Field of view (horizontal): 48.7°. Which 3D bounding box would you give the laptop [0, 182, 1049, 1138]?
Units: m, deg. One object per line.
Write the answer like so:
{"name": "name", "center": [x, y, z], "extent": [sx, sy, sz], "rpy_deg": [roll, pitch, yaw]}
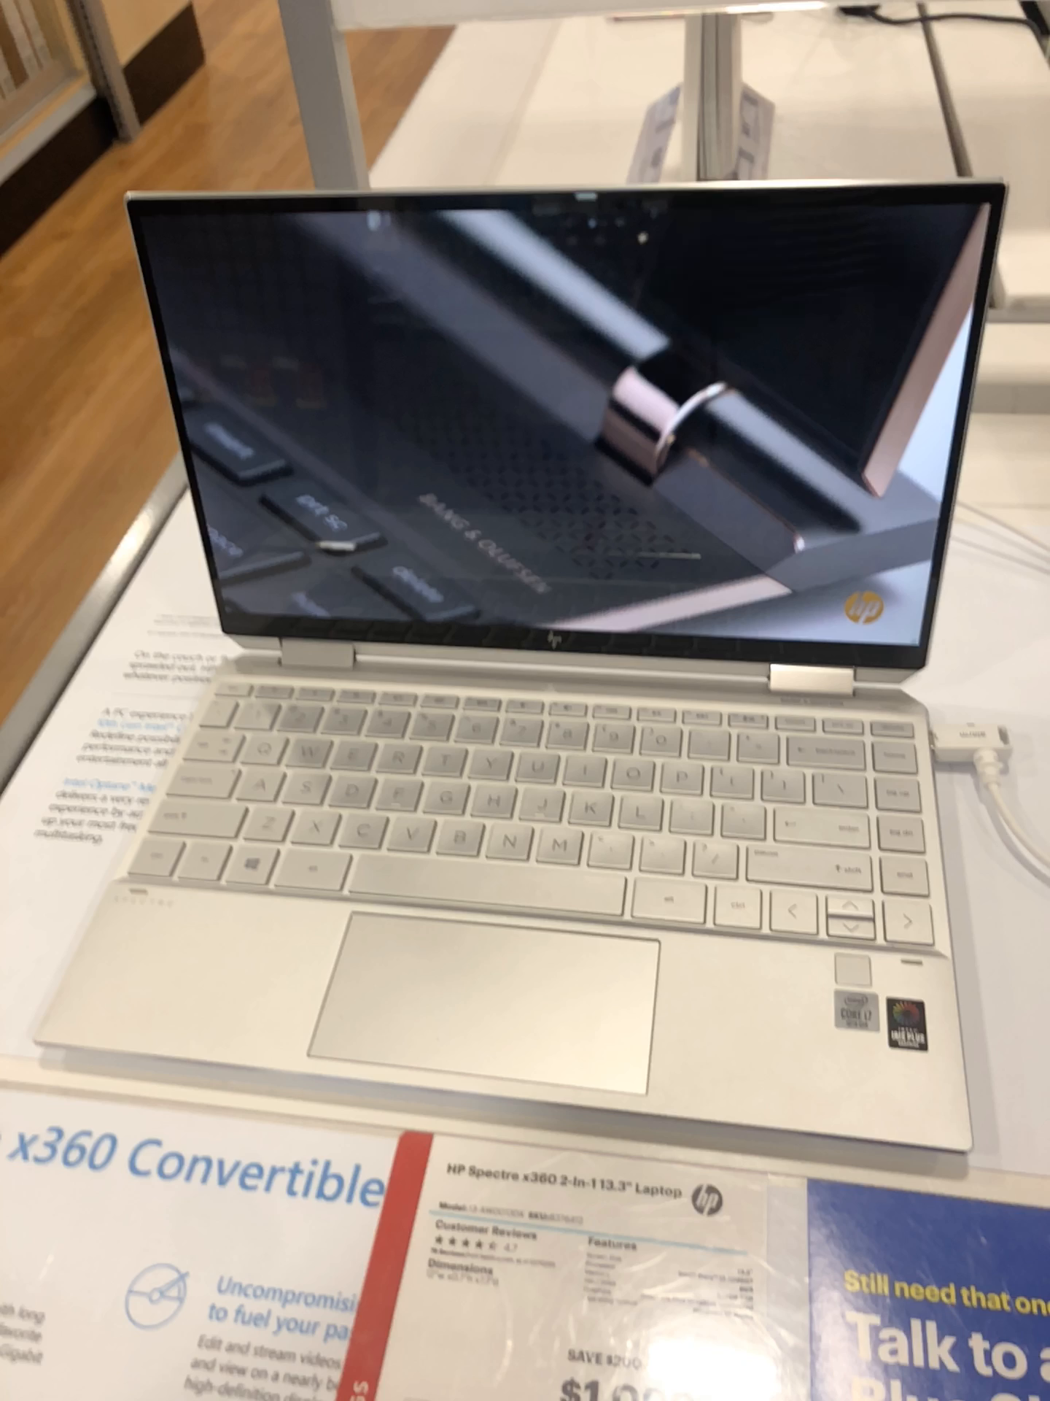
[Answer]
{"name": "laptop", "center": [-0.005, -0.028, 0.378], "extent": [0.303, 0.184, 0.228], "rpy_deg": [4, 46, 10]}
